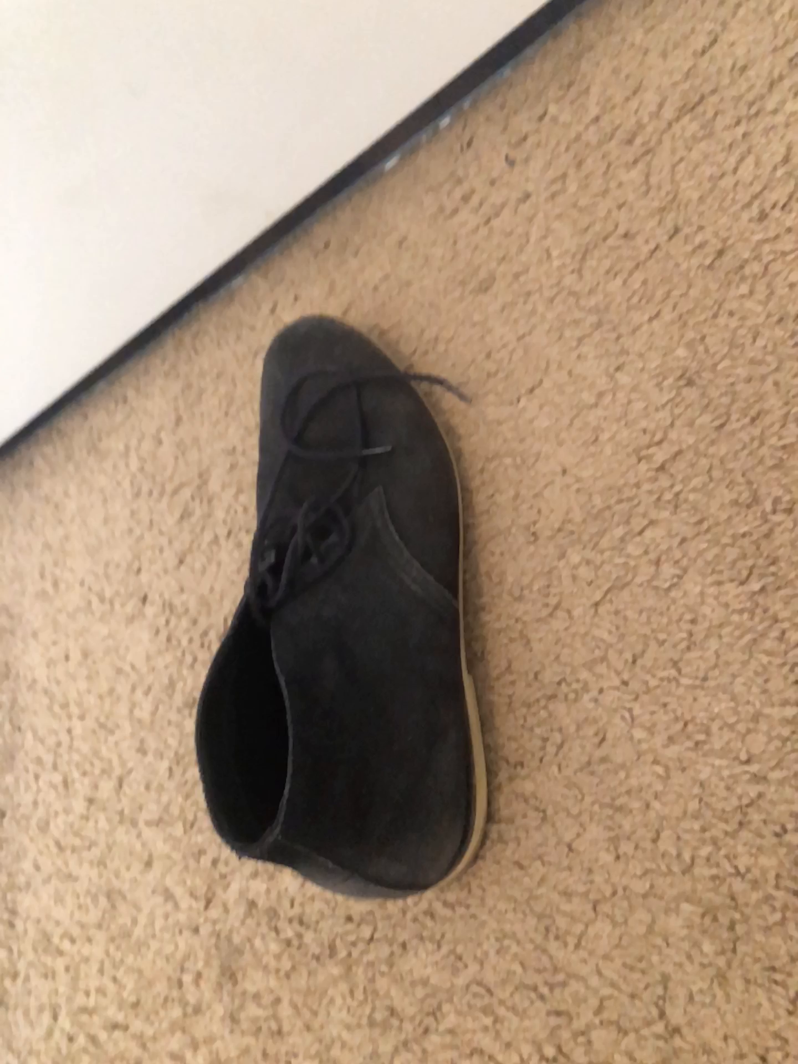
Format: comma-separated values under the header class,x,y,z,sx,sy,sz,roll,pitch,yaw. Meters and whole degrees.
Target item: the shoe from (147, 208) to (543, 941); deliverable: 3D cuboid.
class,x,y,z,sx,sy,sz,roll,pitch,yaw
shoe,-0.034,0.016,0.387,0.103,0.095,0.279,-24,63,32
